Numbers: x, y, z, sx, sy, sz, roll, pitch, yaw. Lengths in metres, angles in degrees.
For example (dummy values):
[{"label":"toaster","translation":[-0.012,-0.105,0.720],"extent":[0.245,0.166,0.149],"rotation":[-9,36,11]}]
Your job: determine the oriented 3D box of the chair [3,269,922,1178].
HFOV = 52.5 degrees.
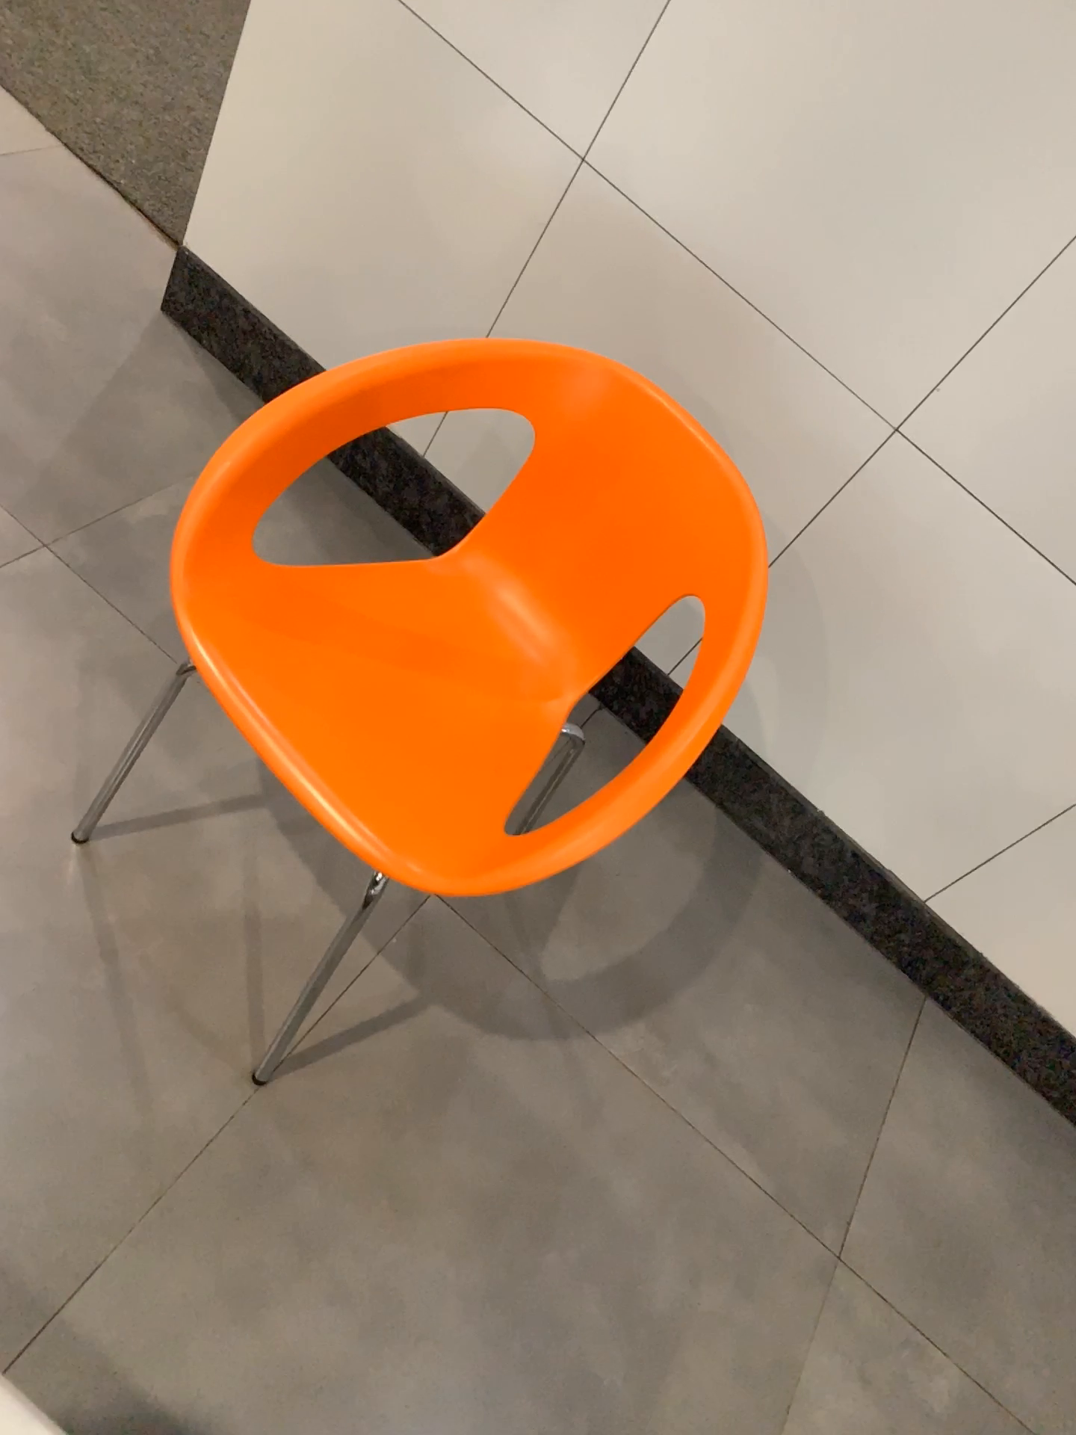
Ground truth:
[{"label":"chair","translation":[-0.114,-0.018,1.325],"extent":[0.661,0.665,0.644],"rotation":[48,44,10]}]
